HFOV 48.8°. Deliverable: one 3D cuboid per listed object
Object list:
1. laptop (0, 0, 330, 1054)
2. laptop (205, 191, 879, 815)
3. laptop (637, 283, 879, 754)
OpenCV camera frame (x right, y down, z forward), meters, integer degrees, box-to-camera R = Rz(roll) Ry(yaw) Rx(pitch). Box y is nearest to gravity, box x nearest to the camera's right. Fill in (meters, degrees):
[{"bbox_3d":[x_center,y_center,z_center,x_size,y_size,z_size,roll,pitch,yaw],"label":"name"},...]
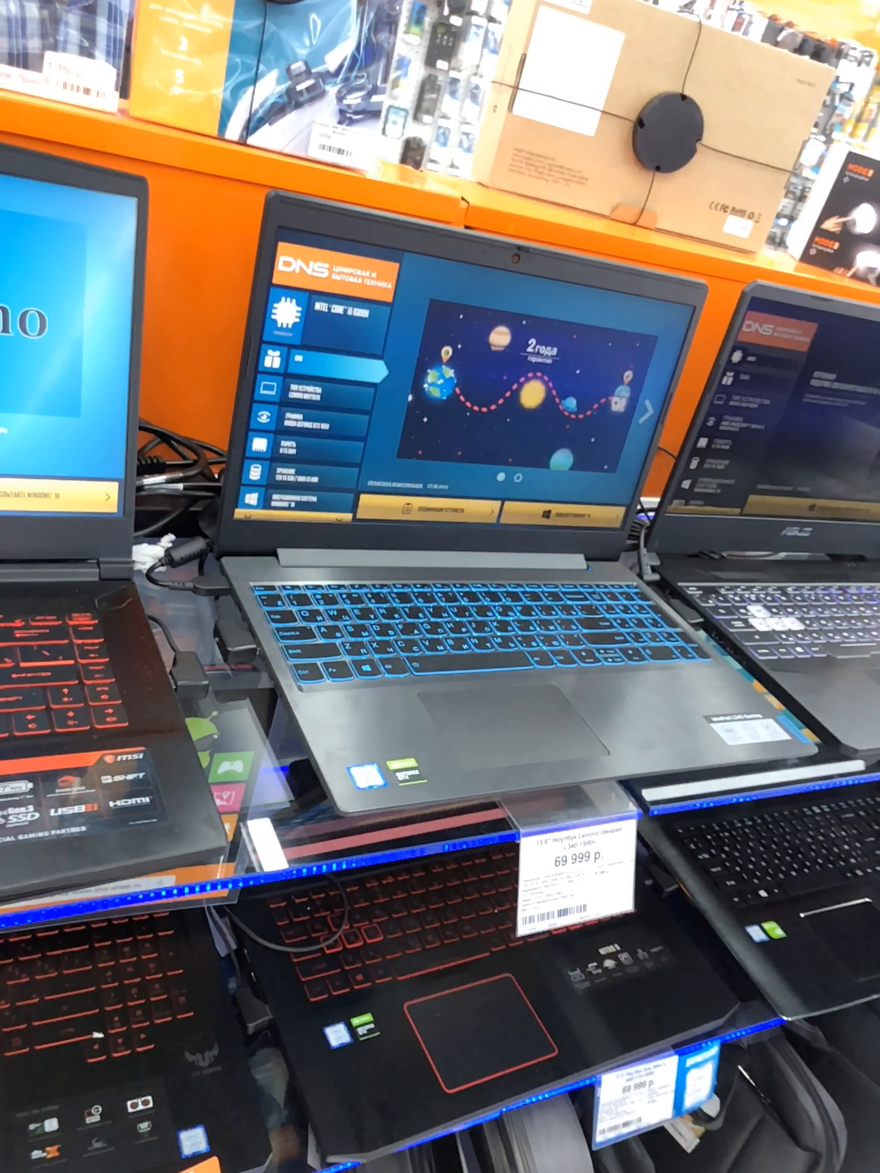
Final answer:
[{"bbox_3d":[-0.290,-0.058,0.415,0.356,0.224,0.320,-1,33,-31],"label":"laptop"},{"bbox_3d":[0.079,-0.060,0.616,0.357,0.235,0.279,0,32,-30],"label":"laptop"},{"bbox_3d":[0.422,-0.061,0.803,0.368,0.244,0.274,1,32,-29],"label":"laptop"}]
